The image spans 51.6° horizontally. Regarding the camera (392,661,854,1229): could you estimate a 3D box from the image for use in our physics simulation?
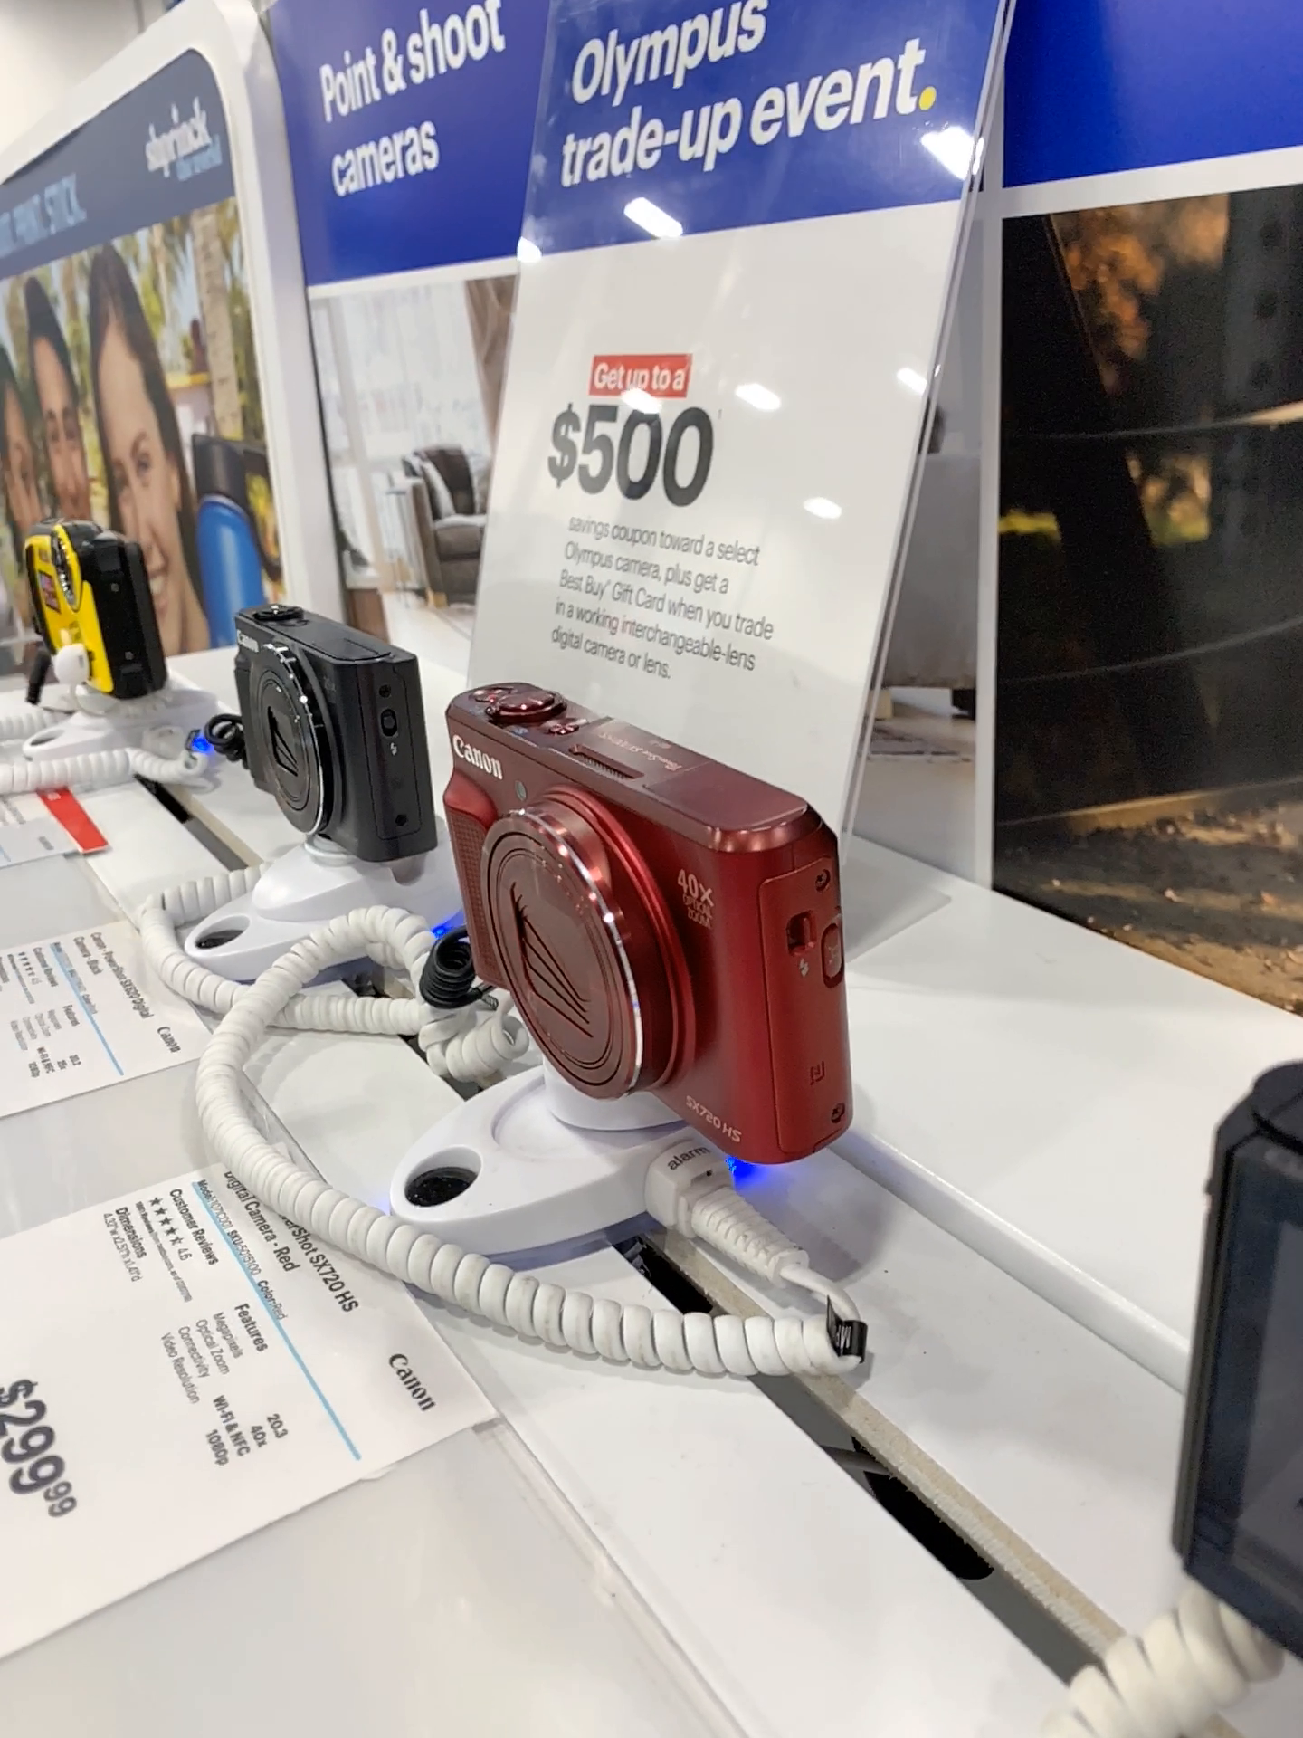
[{"bbox_3d":[-0.010,0.007,0.259,0.030,0.070,0.110,-19,26,-25],"label":"camera"}]
